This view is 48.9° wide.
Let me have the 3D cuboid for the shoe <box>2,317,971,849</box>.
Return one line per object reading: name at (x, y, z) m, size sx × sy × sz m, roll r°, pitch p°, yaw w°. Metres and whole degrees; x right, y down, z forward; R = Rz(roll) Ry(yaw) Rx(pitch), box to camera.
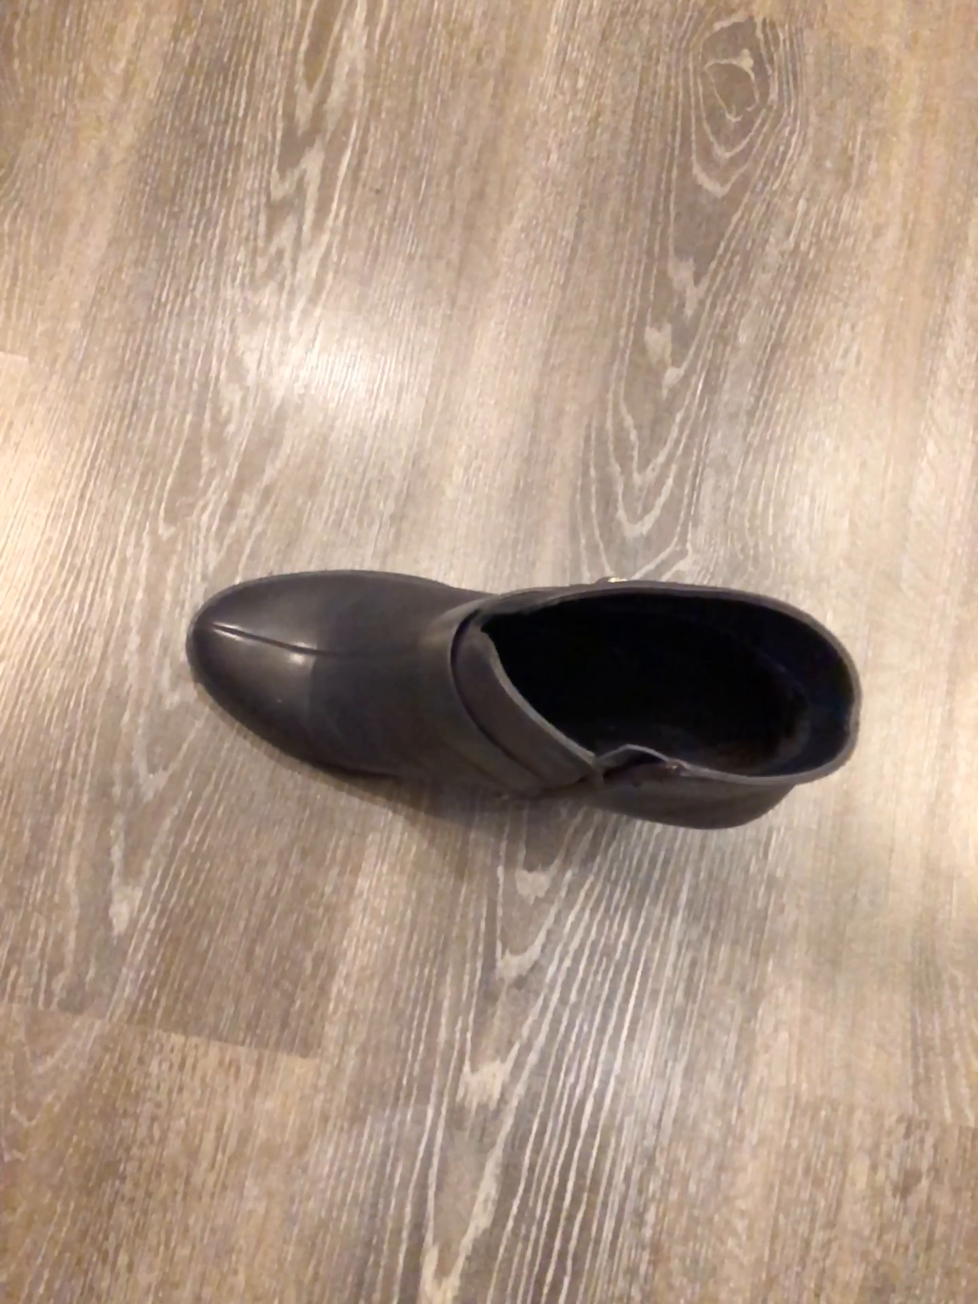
shoe at (-0.003, -0.001, 0.372) m, size 0.240 × 0.190 × 0.090 m, roll 12°, pitch 78°, yaw -4°
